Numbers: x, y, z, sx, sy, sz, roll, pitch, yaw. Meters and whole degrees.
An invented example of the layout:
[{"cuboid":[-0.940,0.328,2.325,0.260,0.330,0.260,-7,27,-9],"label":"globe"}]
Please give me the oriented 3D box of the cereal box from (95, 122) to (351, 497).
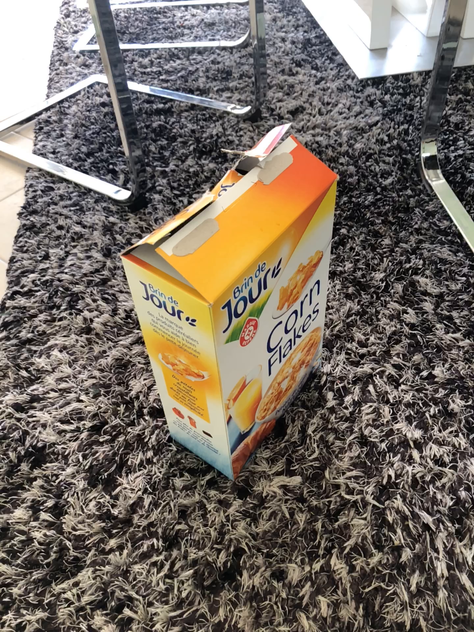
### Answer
[{"cuboid":[0.007,0.006,0.521,0.100,0.308,0.201,26,54,27],"label":"cereal box"}]
